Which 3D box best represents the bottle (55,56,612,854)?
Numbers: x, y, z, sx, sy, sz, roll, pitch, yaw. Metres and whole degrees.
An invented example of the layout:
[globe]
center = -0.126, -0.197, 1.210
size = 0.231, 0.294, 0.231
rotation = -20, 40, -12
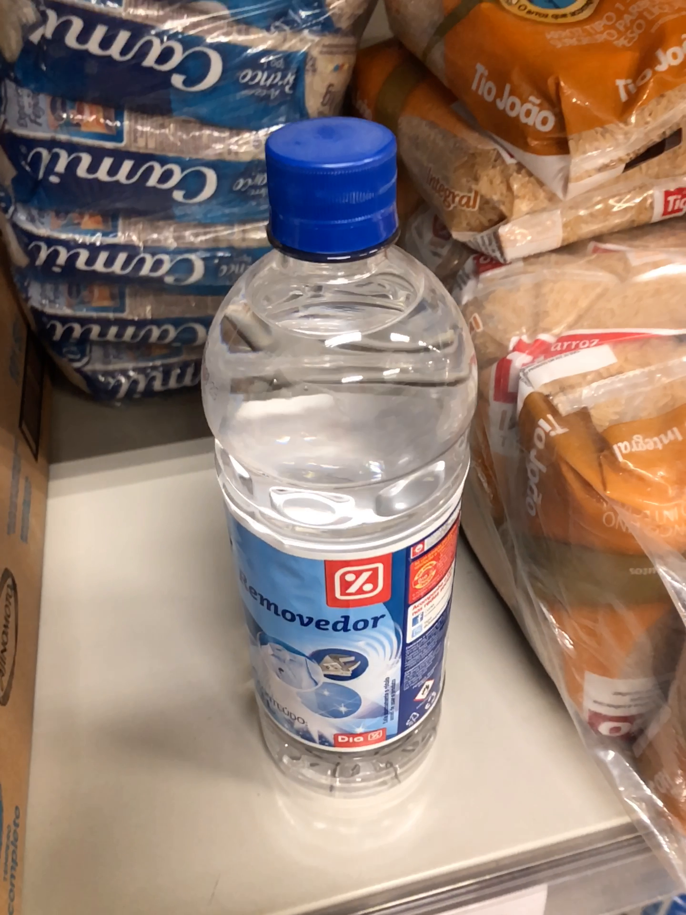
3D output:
[bottle]
center = 0.002, 0.025, 0.257
size = 0.090, 0.258, 0.080
rotation = -34, 53, -27
